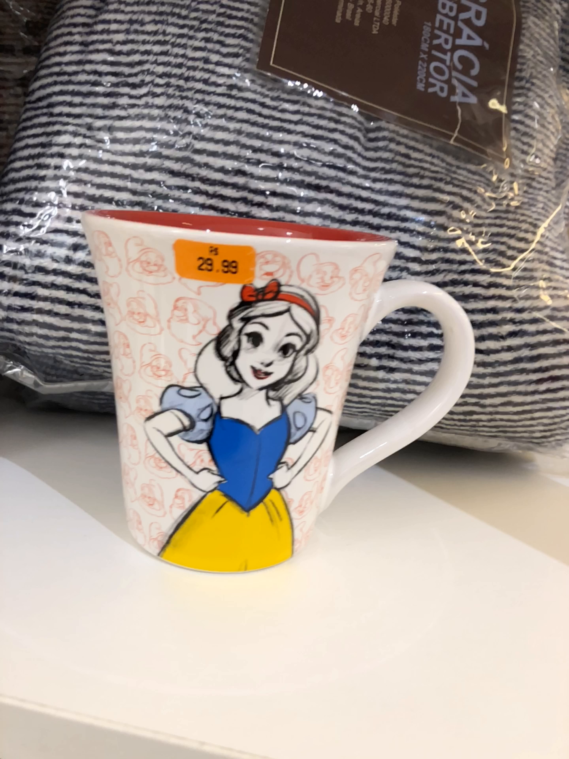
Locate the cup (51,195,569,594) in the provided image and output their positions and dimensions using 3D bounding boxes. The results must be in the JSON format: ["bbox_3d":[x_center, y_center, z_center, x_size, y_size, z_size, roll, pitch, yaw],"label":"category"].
[{"bbox_3d":[0.004,-0.003,0.192,0.120,0.090,0.090,3,16,-7],"label":"cup"}]

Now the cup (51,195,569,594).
[{"bbox_3d":[0.004,-0.003,0.192,0.120,0.090,0.090,3,16,-7],"label":"cup"}]
